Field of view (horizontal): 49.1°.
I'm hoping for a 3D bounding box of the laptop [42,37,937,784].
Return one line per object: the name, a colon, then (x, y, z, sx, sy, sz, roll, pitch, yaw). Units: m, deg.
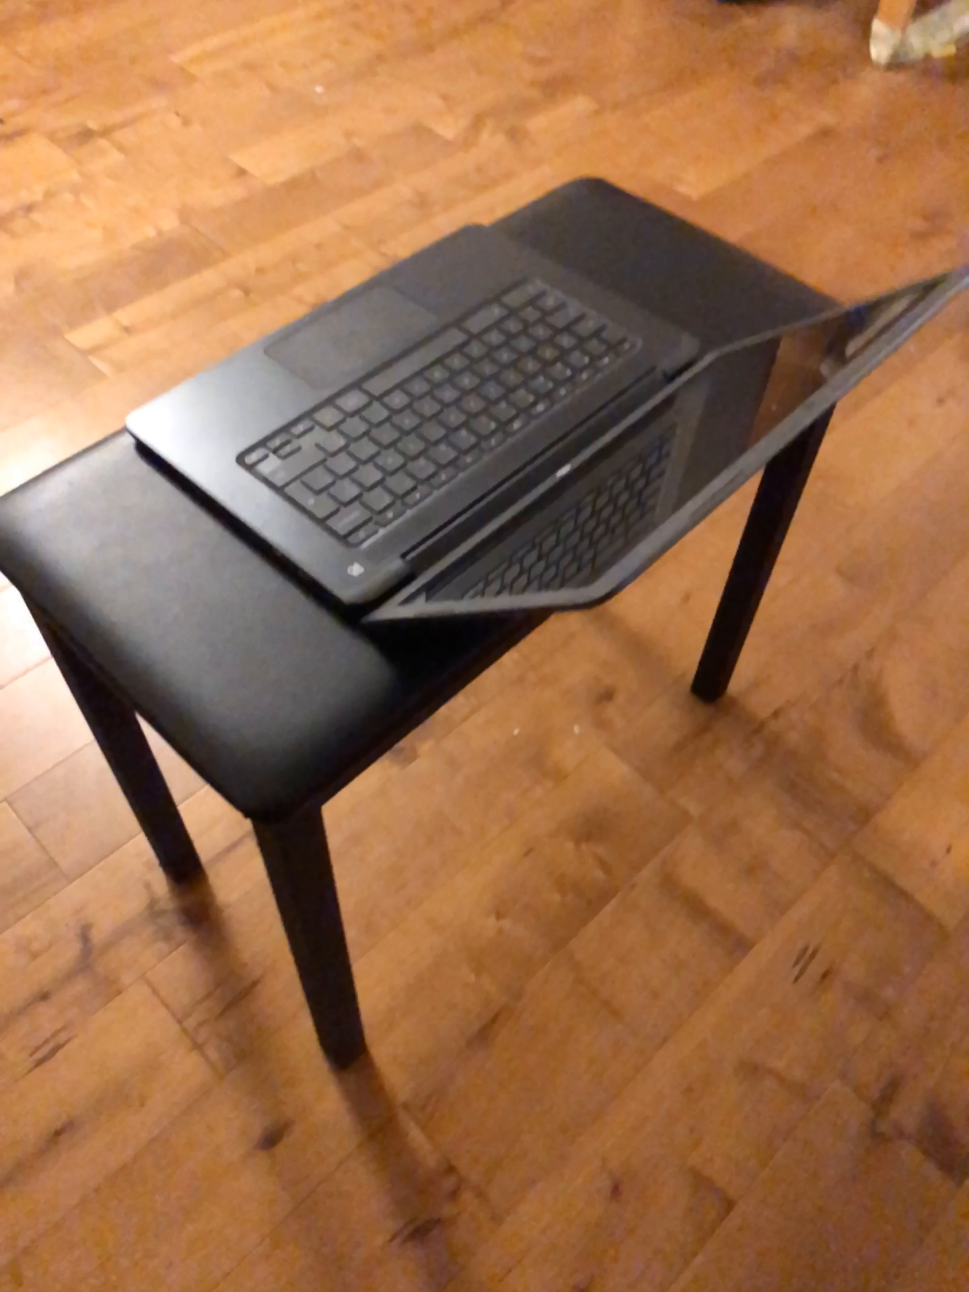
laptop: (0.003, -0.168, 0.624, 0.363, 0.143, 0.317, 38, 60, 22)
